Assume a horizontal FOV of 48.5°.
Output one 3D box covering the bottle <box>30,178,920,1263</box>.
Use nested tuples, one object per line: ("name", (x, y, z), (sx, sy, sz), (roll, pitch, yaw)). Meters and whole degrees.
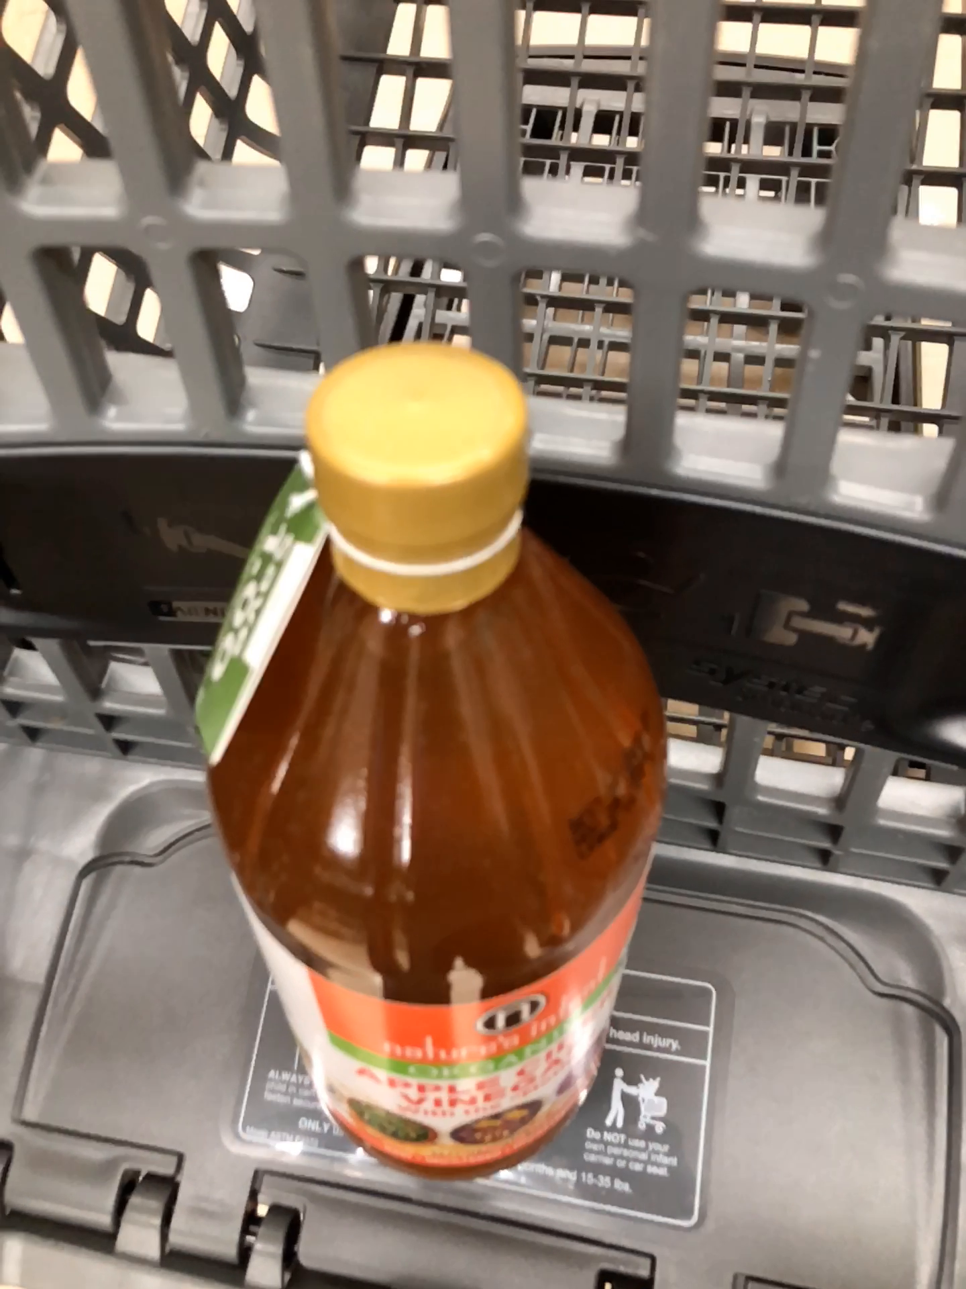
("bottle", (-0.009, 0.042, 0.238), (0.100, 0.241, 0.090), (-14, 50, -13))
